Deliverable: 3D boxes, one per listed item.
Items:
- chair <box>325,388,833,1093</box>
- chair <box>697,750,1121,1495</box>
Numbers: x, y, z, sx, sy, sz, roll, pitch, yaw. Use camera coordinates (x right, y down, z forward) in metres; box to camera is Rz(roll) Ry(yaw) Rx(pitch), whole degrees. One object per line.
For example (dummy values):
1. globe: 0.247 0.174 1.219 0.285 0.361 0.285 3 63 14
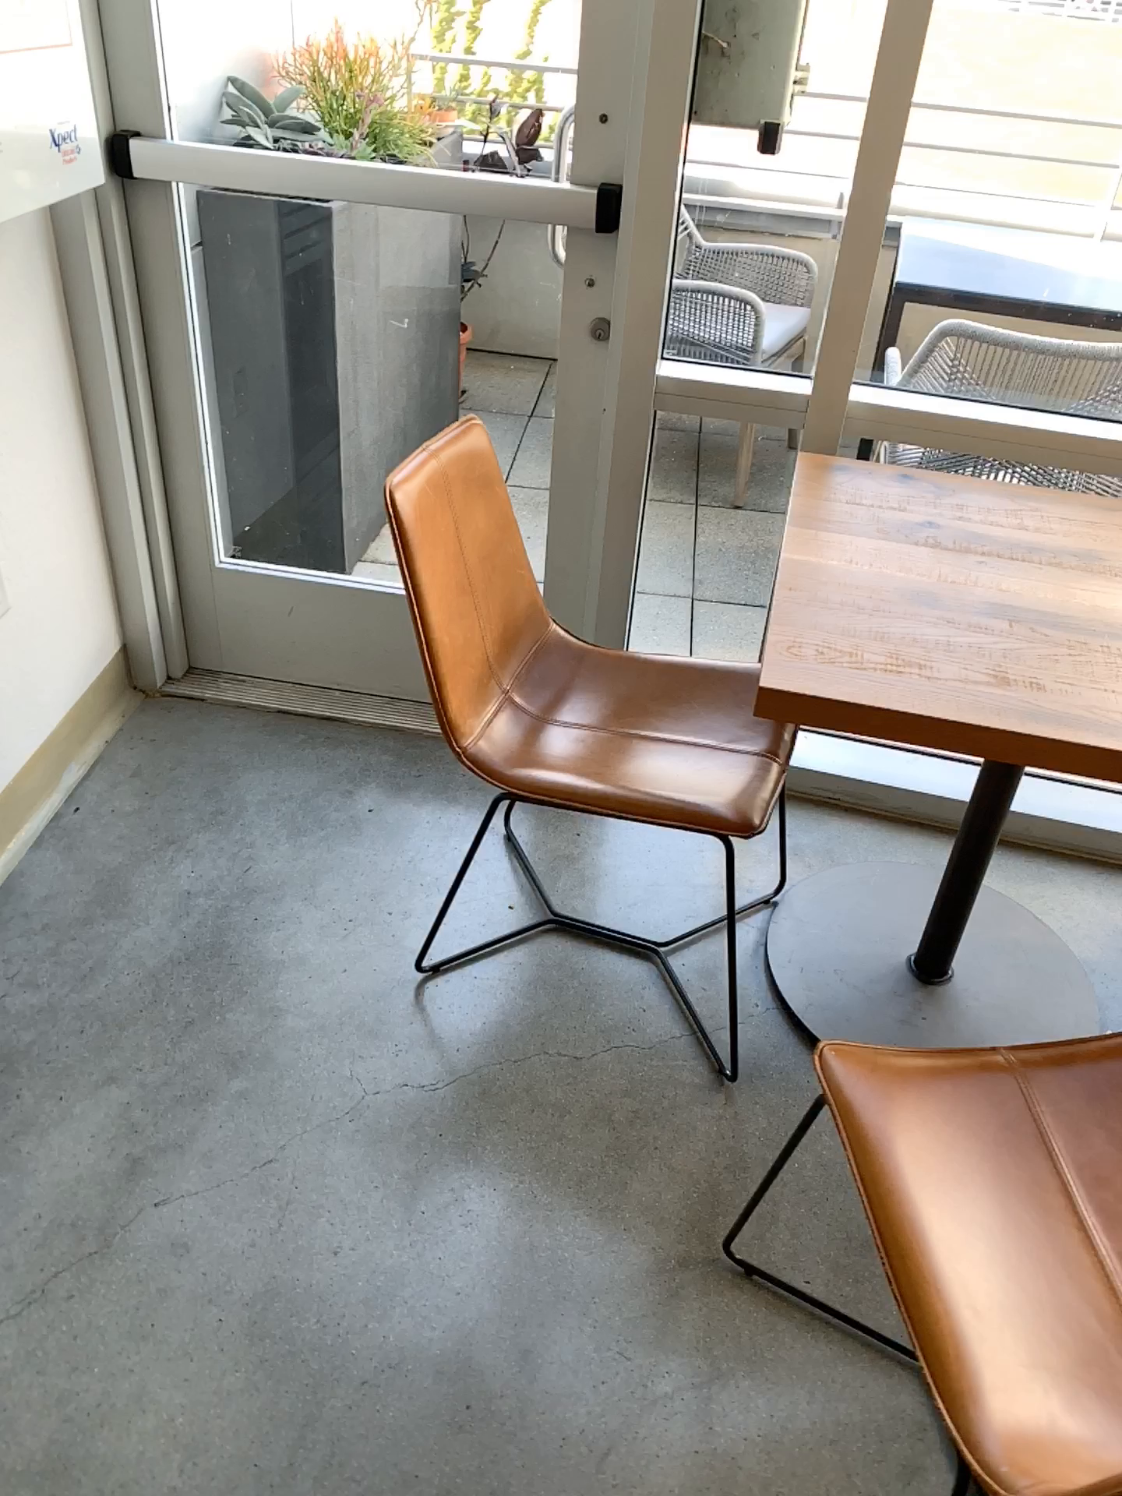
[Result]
1. chair: 0.049 -0.017 1.747 0.550 0.865 0.493 10 36 14
2. chair: 0.495 0.512 1.122 0.490 0.864 0.544 -1 40 -8
